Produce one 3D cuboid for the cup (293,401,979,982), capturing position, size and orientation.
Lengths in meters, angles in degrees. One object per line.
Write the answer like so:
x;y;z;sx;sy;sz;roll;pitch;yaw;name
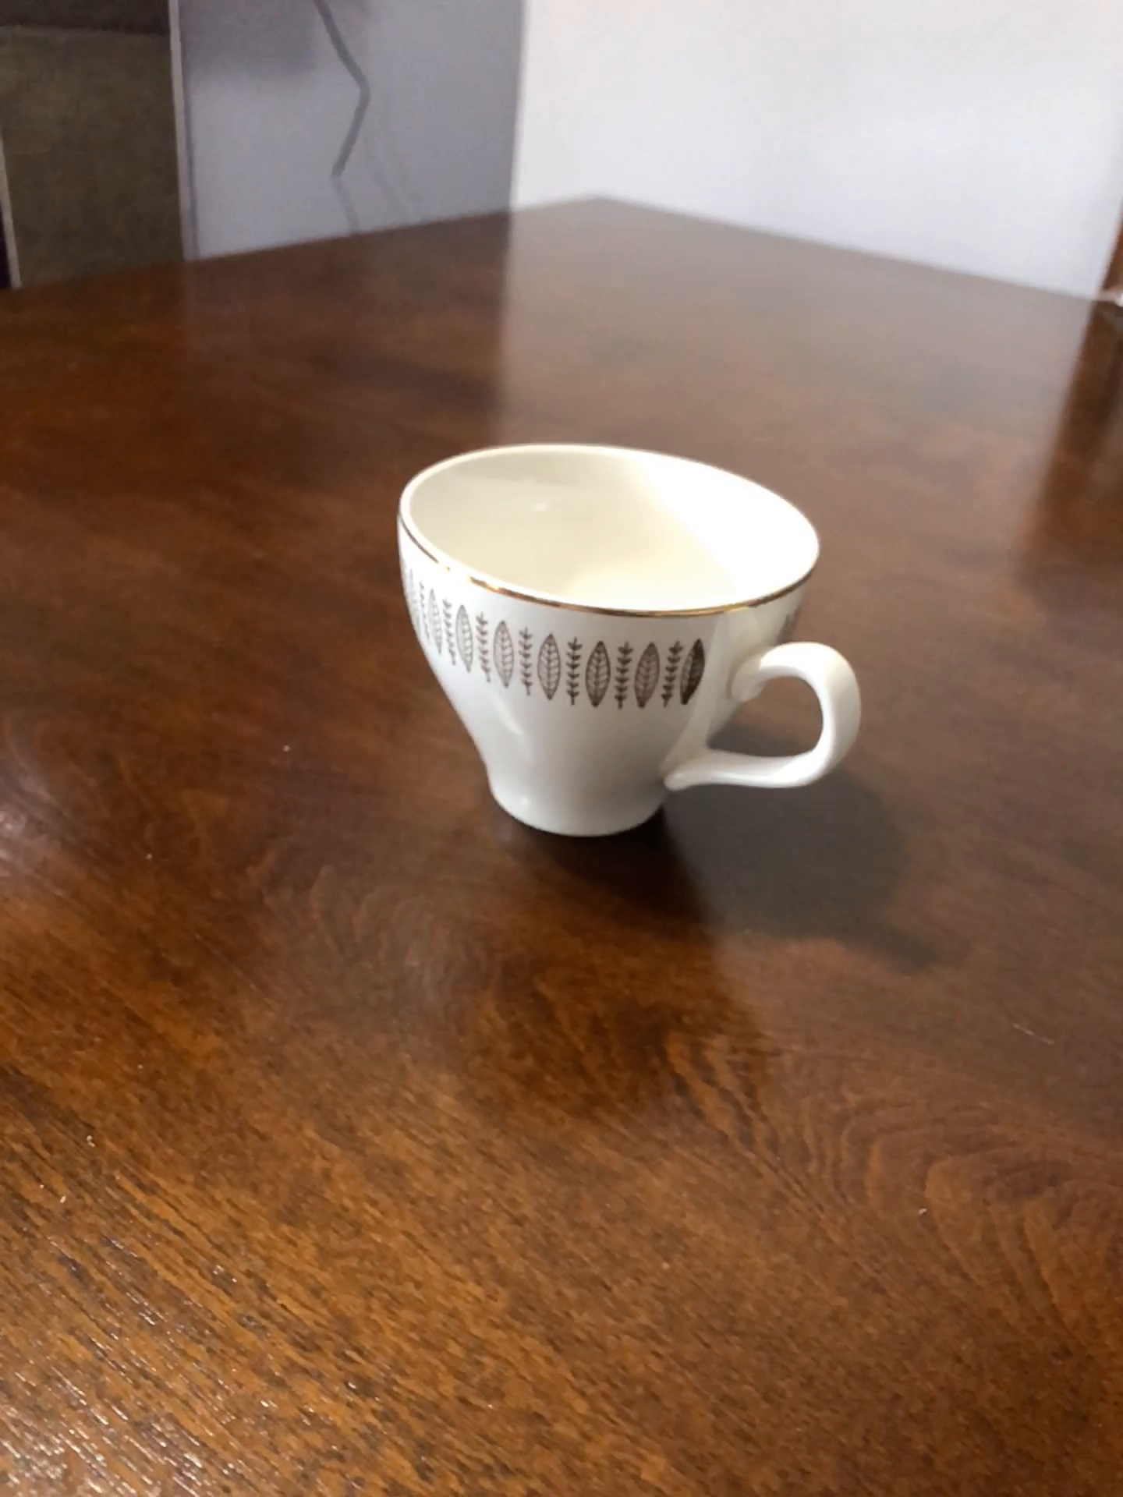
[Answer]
0.014;-0.021;0.261;0.100;0.060;0.090;26;37;28;cup
